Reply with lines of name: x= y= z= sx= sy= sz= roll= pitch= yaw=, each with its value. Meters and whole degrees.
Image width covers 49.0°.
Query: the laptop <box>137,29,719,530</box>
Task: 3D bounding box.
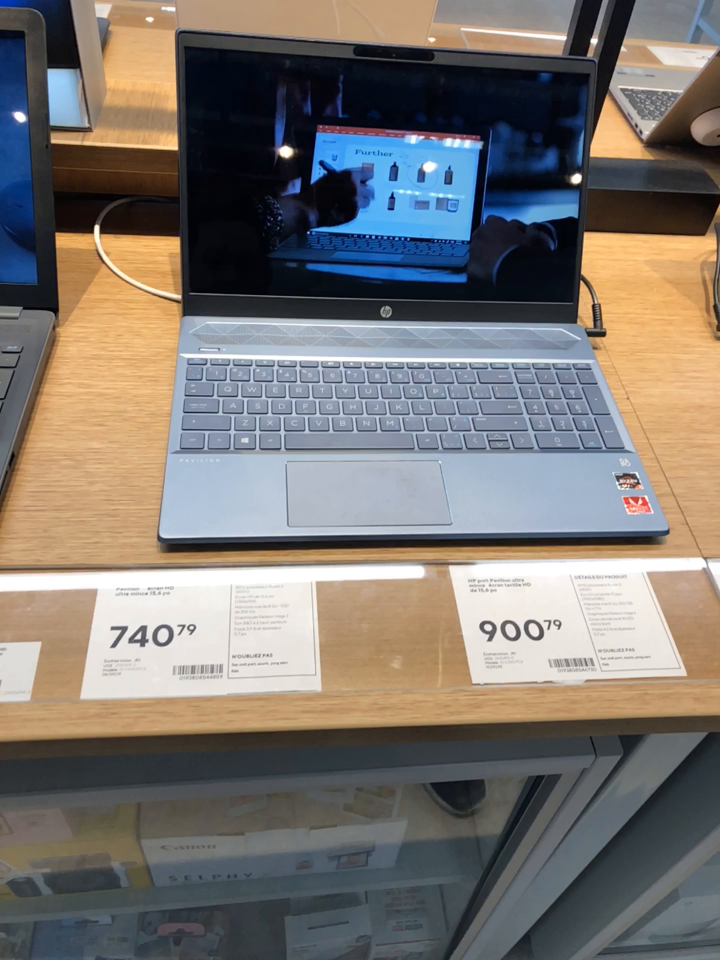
laptop: x=0.035 y=-0.161 z=0.588 sx=0.338 sy=0.185 sz=0.357 roll=0 pitch=46 yaw=-8
